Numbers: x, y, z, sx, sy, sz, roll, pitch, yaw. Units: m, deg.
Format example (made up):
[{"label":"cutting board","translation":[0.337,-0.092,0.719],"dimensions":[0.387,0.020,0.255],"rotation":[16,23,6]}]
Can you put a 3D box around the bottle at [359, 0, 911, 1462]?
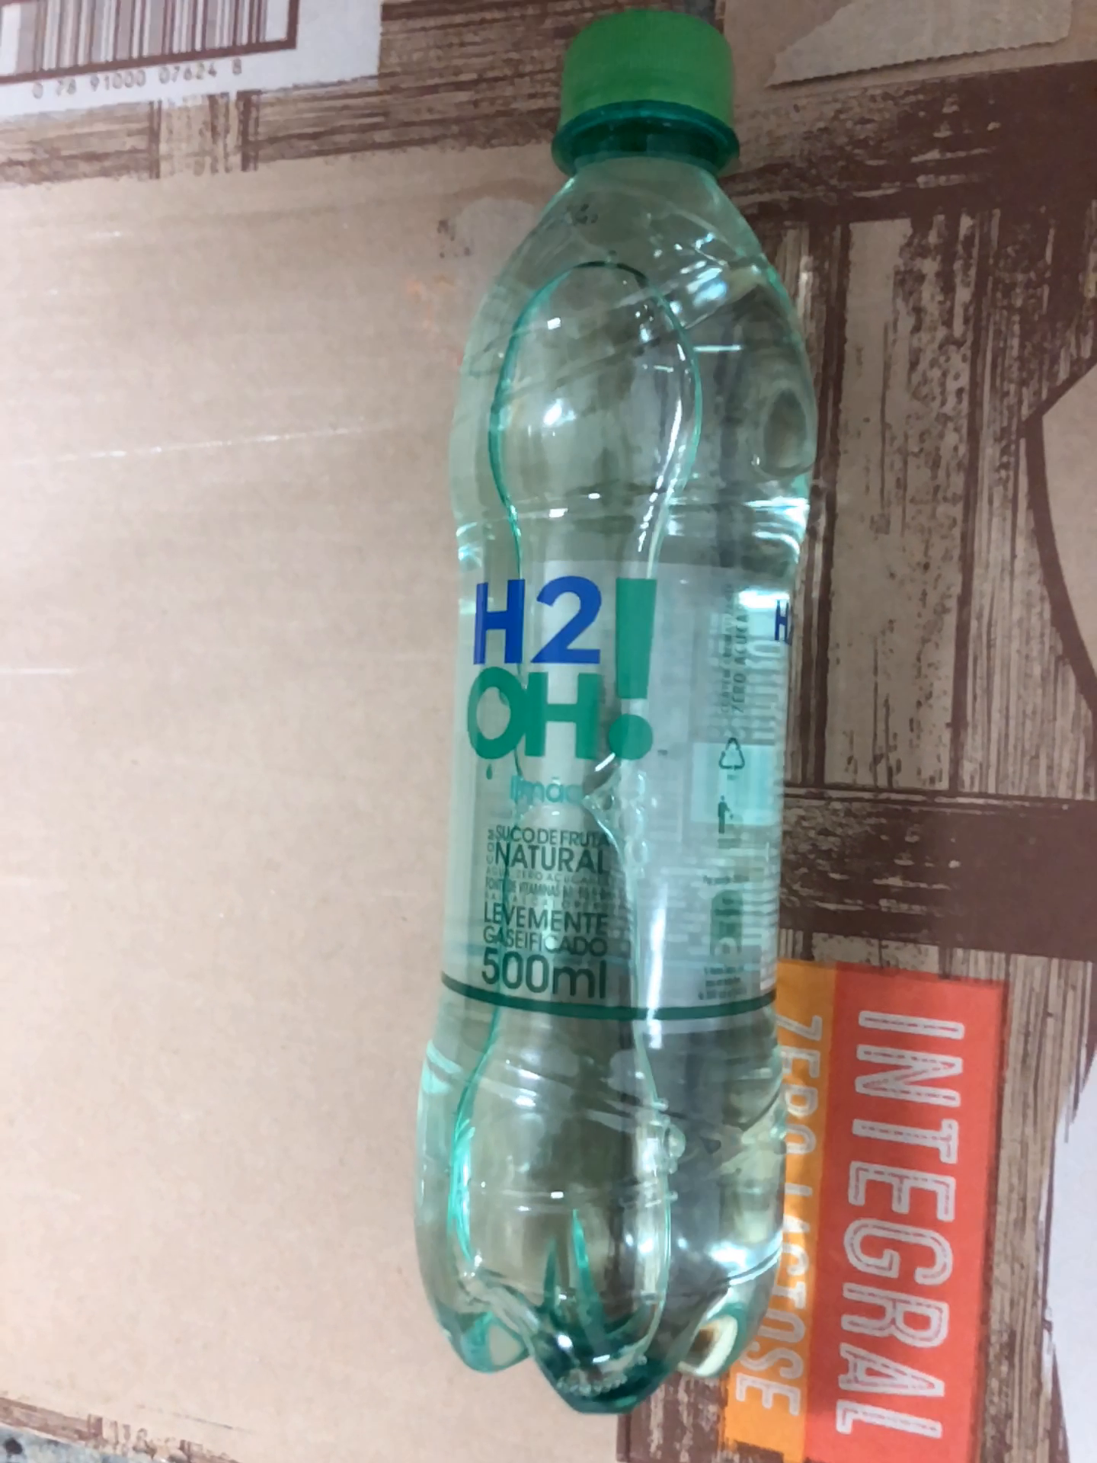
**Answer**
[{"label":"bottle","translation":[0.018,-0.011,0.209],"dimensions":[0.070,0.050,0.250],"rotation":[3,89,17]}]
